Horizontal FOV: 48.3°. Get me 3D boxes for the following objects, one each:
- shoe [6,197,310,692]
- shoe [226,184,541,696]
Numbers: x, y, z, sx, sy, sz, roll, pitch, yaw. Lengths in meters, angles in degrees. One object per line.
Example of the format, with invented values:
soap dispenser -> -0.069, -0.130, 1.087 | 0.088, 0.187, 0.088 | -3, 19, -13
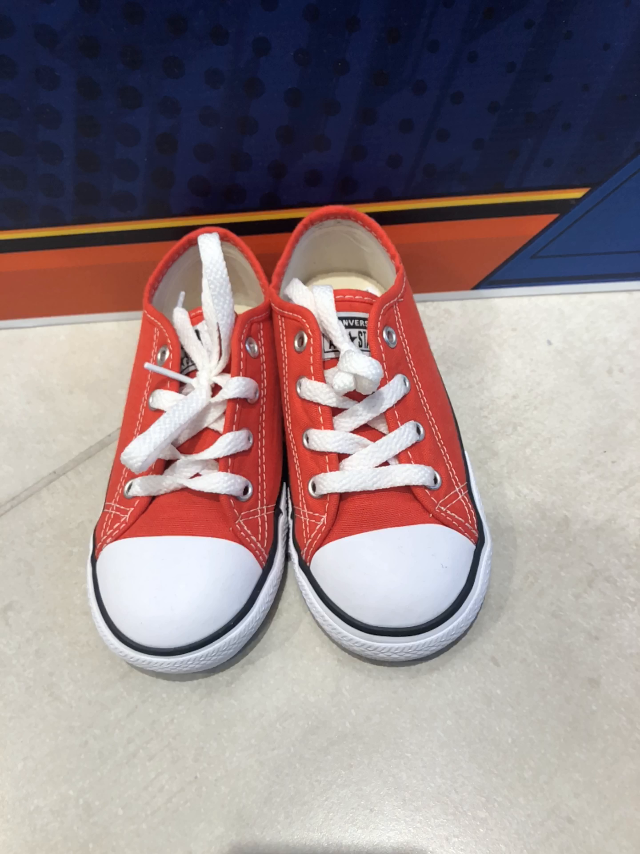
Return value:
shoe -> -0.049, -0.001, 0.290 | 0.080, 0.070, 0.191 | -2, 55, 4
shoe -> 0.014, -0.004, 0.290 | 0.080, 0.070, 0.191 | -9, 55, -1
